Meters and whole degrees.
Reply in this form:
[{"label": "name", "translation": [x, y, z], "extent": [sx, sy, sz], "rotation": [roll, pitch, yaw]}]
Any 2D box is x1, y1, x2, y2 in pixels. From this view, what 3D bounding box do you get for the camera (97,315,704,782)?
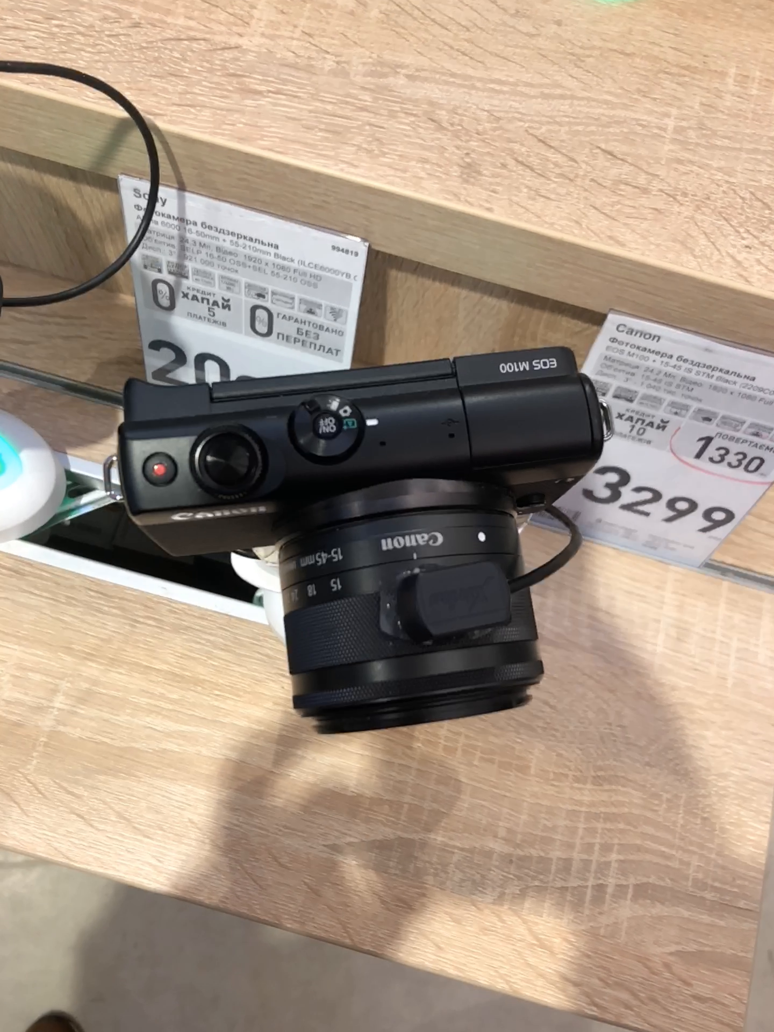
[{"label": "camera", "translation": [-0.001, 0.010, 0.203], "extent": [0.112, 0.061, 0.082], "rotation": [-7, 77, -7]}]
